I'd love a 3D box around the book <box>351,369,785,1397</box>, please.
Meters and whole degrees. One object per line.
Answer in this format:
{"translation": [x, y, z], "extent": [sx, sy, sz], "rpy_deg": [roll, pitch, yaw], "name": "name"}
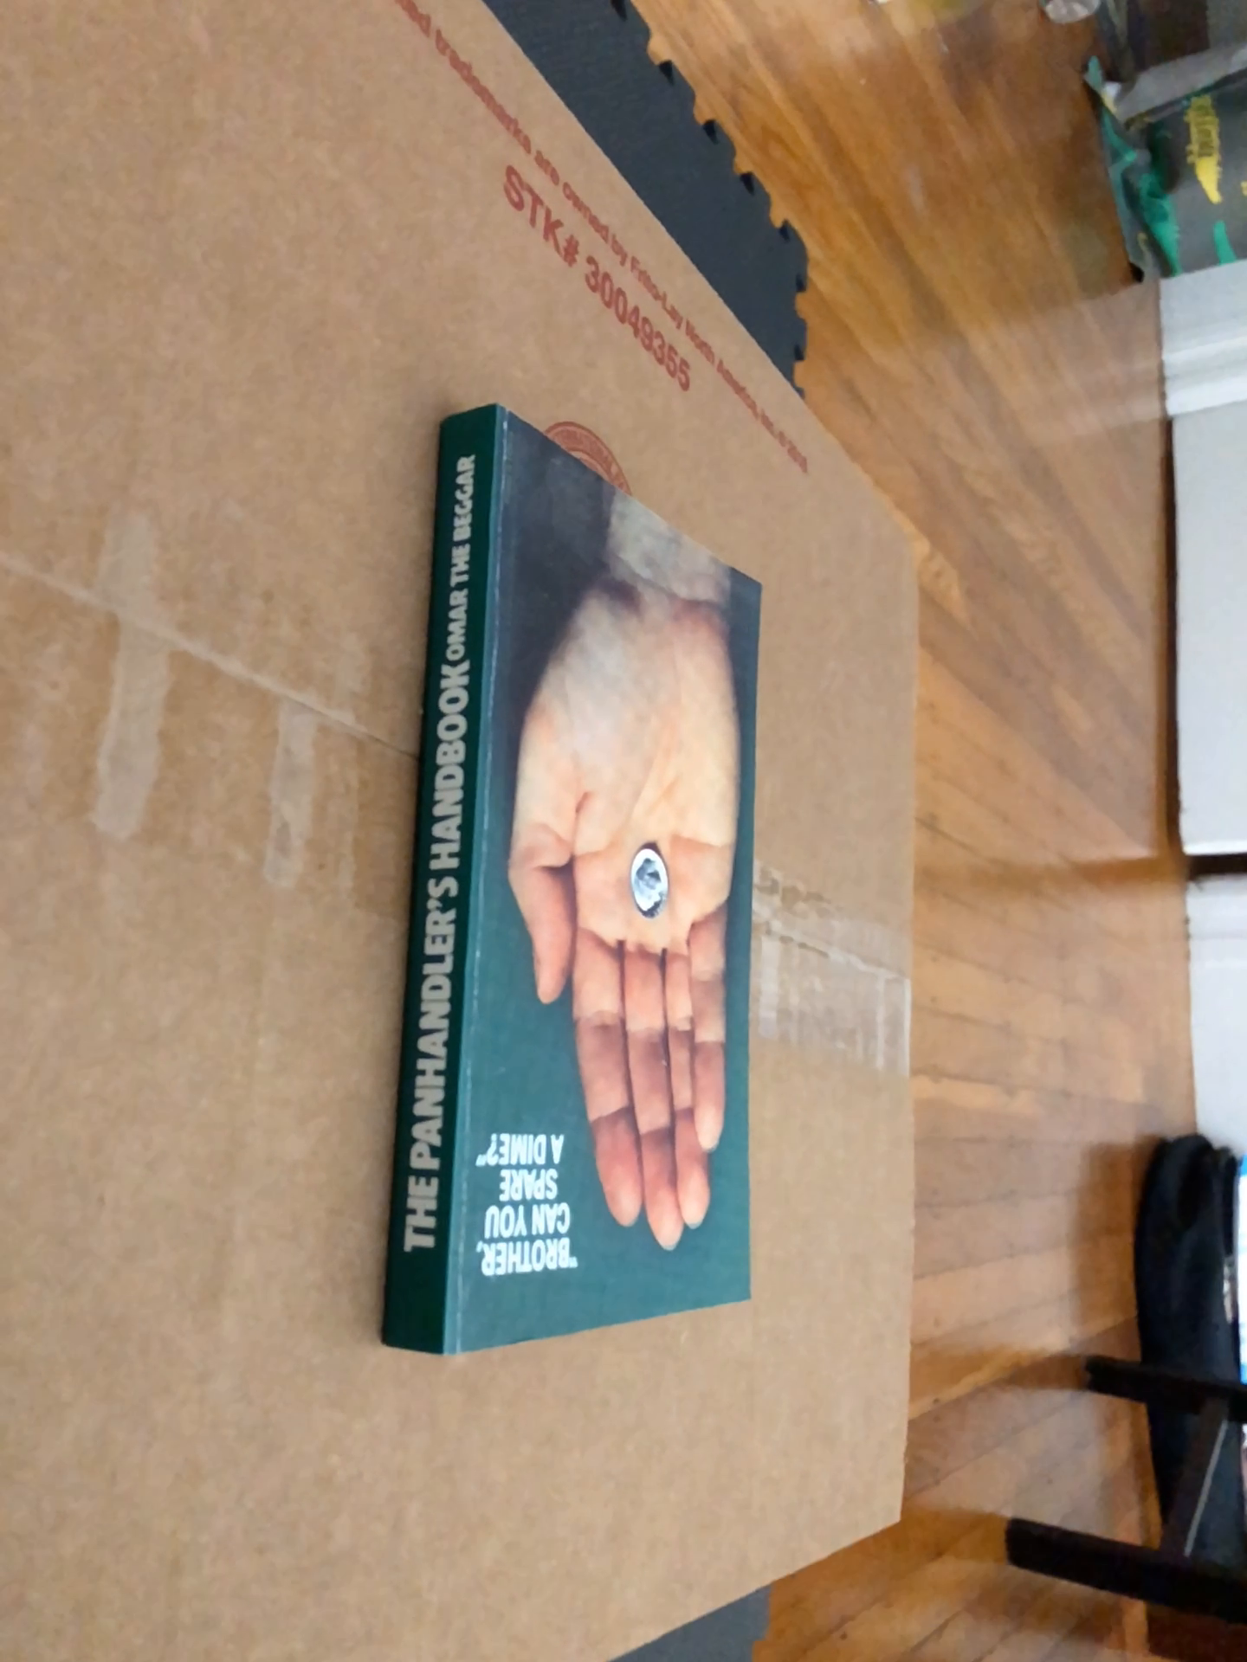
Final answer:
{"translation": [-0.002, 0.014, 0.294], "extent": [0.121, 0.020, 0.180], "rpy_deg": [20, 69, -56], "name": "book"}
